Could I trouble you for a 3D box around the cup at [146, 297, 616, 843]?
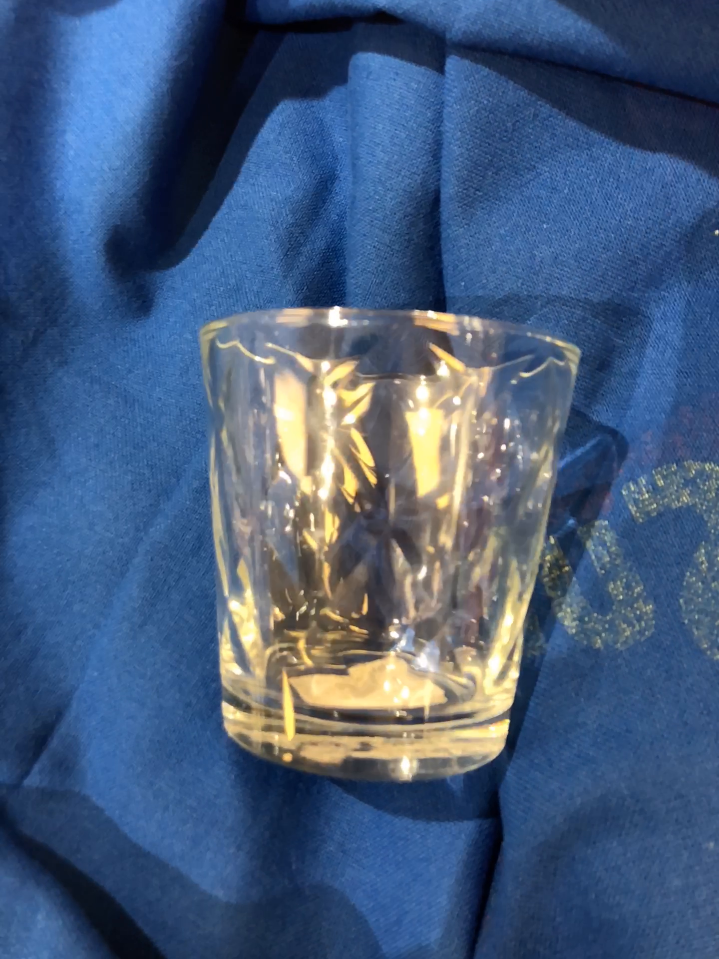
[{"bbox_3d":[0.008,0.012,0.174,0.080,0.070,0.090,3,94,13],"label":"cup"}]
